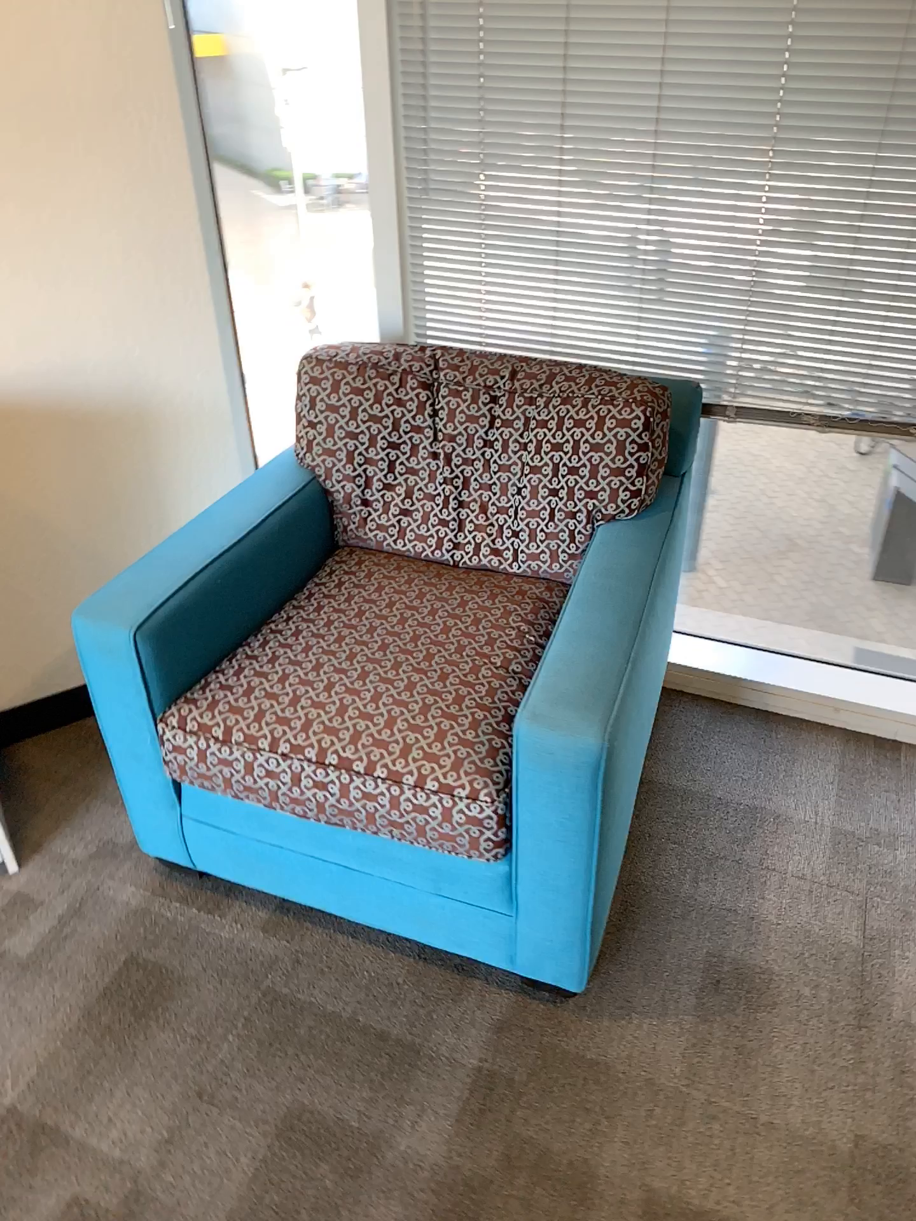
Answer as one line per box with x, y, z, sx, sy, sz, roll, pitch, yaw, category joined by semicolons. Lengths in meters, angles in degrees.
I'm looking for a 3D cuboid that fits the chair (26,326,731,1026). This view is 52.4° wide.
-0.052;0.029;1.848;0.912;0.825;0.924;12;37;19;chair
